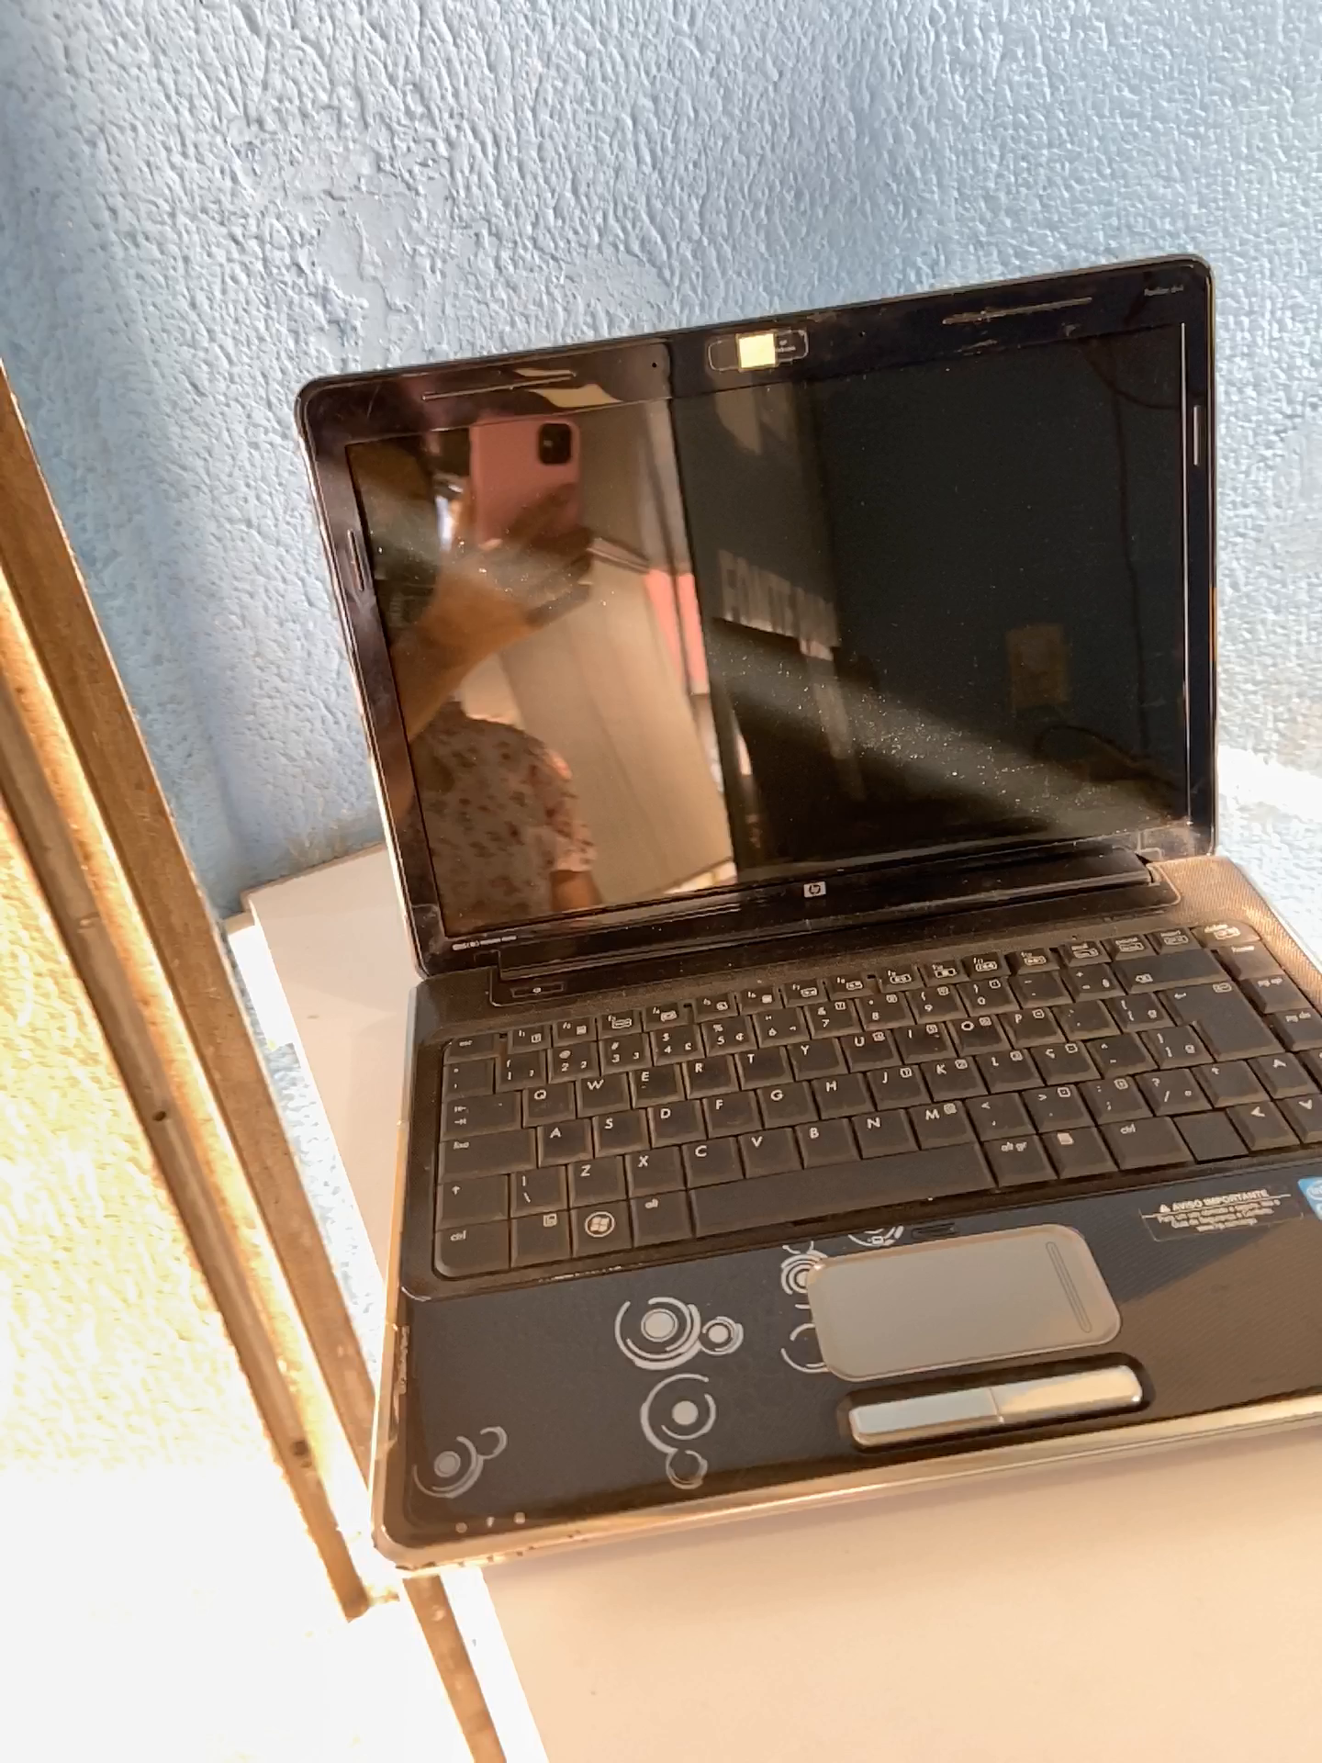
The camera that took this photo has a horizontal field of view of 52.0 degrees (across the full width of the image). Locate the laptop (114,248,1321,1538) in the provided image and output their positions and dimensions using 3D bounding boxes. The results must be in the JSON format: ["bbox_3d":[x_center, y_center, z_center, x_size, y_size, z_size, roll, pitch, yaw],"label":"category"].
[{"bbox_3d":[0.061,-0.031,0.415,0.321,0.210,0.303,-9,34,-2],"label":"laptop"}]
